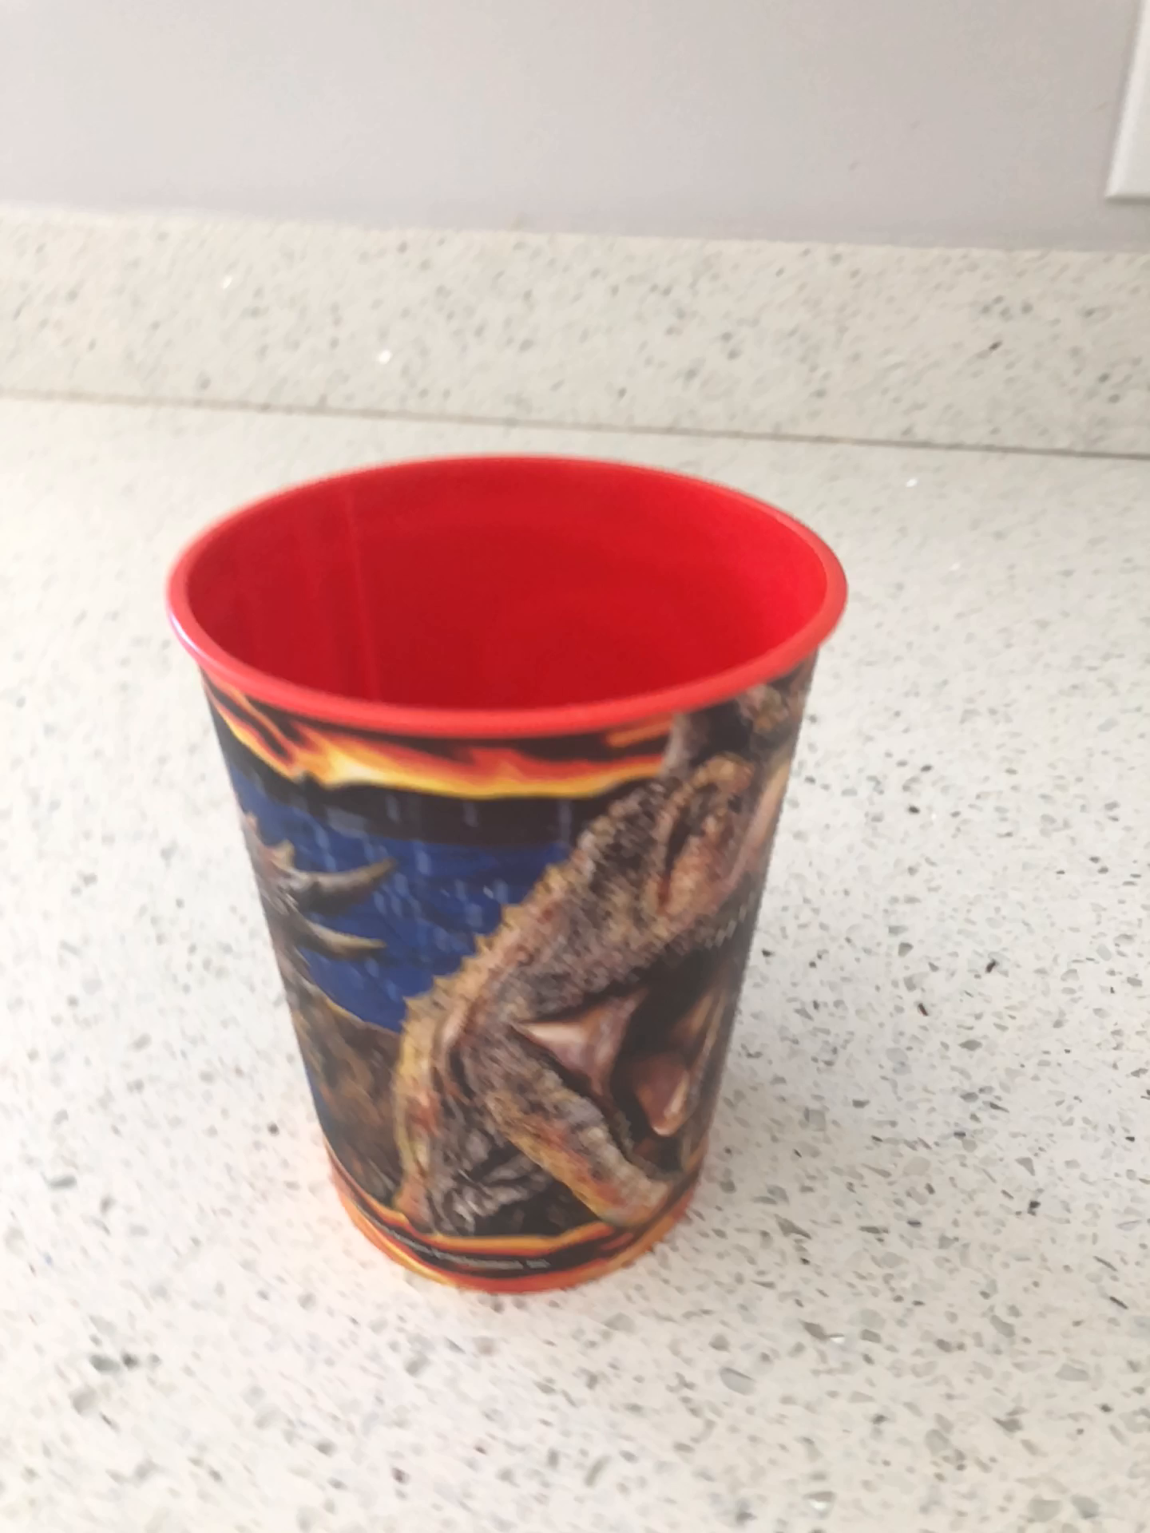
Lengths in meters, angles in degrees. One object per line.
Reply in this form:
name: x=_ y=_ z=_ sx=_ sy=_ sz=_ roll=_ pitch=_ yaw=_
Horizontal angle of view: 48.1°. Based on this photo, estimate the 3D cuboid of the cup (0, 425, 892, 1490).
cup: x=-0.010 y=0.020 z=0.192 sx=0.090 sy=0.110 sz=0.090 roll=0 pitch=32 yaw=0
